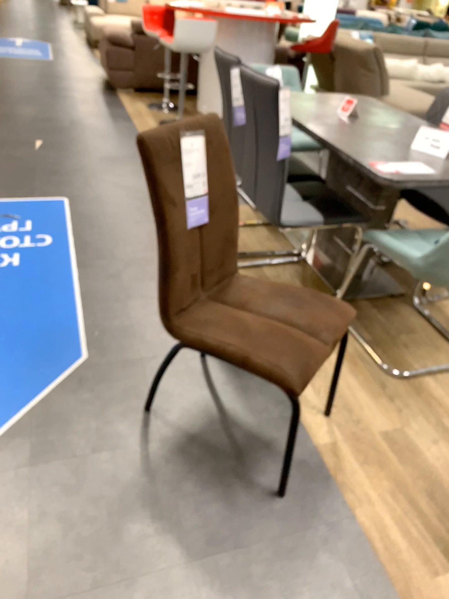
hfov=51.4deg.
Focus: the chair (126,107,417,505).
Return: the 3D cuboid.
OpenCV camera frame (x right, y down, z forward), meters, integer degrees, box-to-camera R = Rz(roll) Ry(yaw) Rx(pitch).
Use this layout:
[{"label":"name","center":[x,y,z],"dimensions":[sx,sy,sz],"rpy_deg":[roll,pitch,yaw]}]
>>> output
[{"label":"chair","center":[0.080,0.016,1.418],"dimensions":[0.591,0.964,0.442],"rpy_deg":[23,37,22]}]
